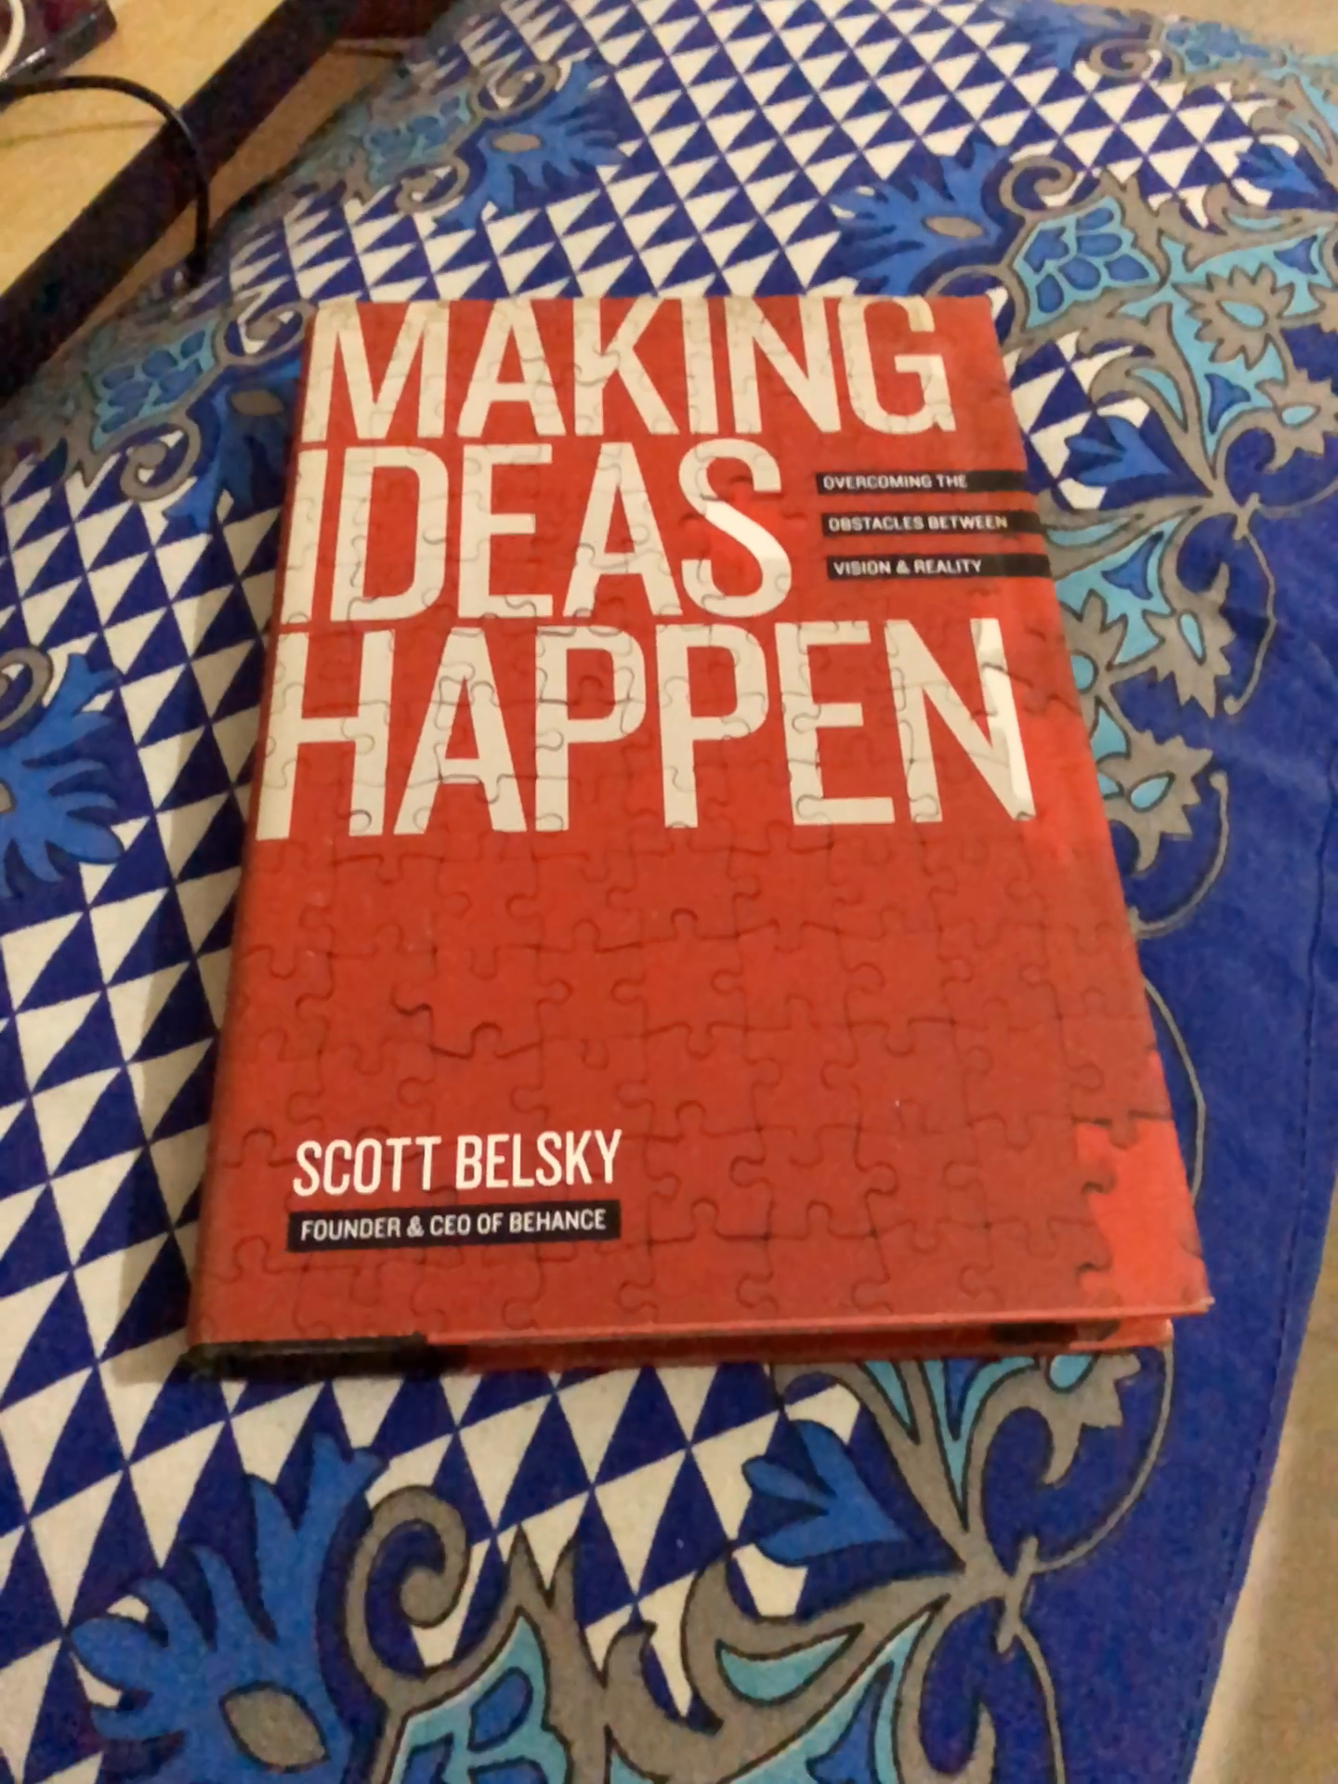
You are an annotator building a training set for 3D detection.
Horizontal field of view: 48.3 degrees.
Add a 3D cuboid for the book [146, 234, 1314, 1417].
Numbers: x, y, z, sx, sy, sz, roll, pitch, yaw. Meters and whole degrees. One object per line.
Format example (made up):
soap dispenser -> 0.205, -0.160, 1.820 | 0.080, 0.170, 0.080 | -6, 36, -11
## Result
book -> 0.003, -0.036, 0.285 | 0.160, 0.030, 0.251 | -2, 57, -2
